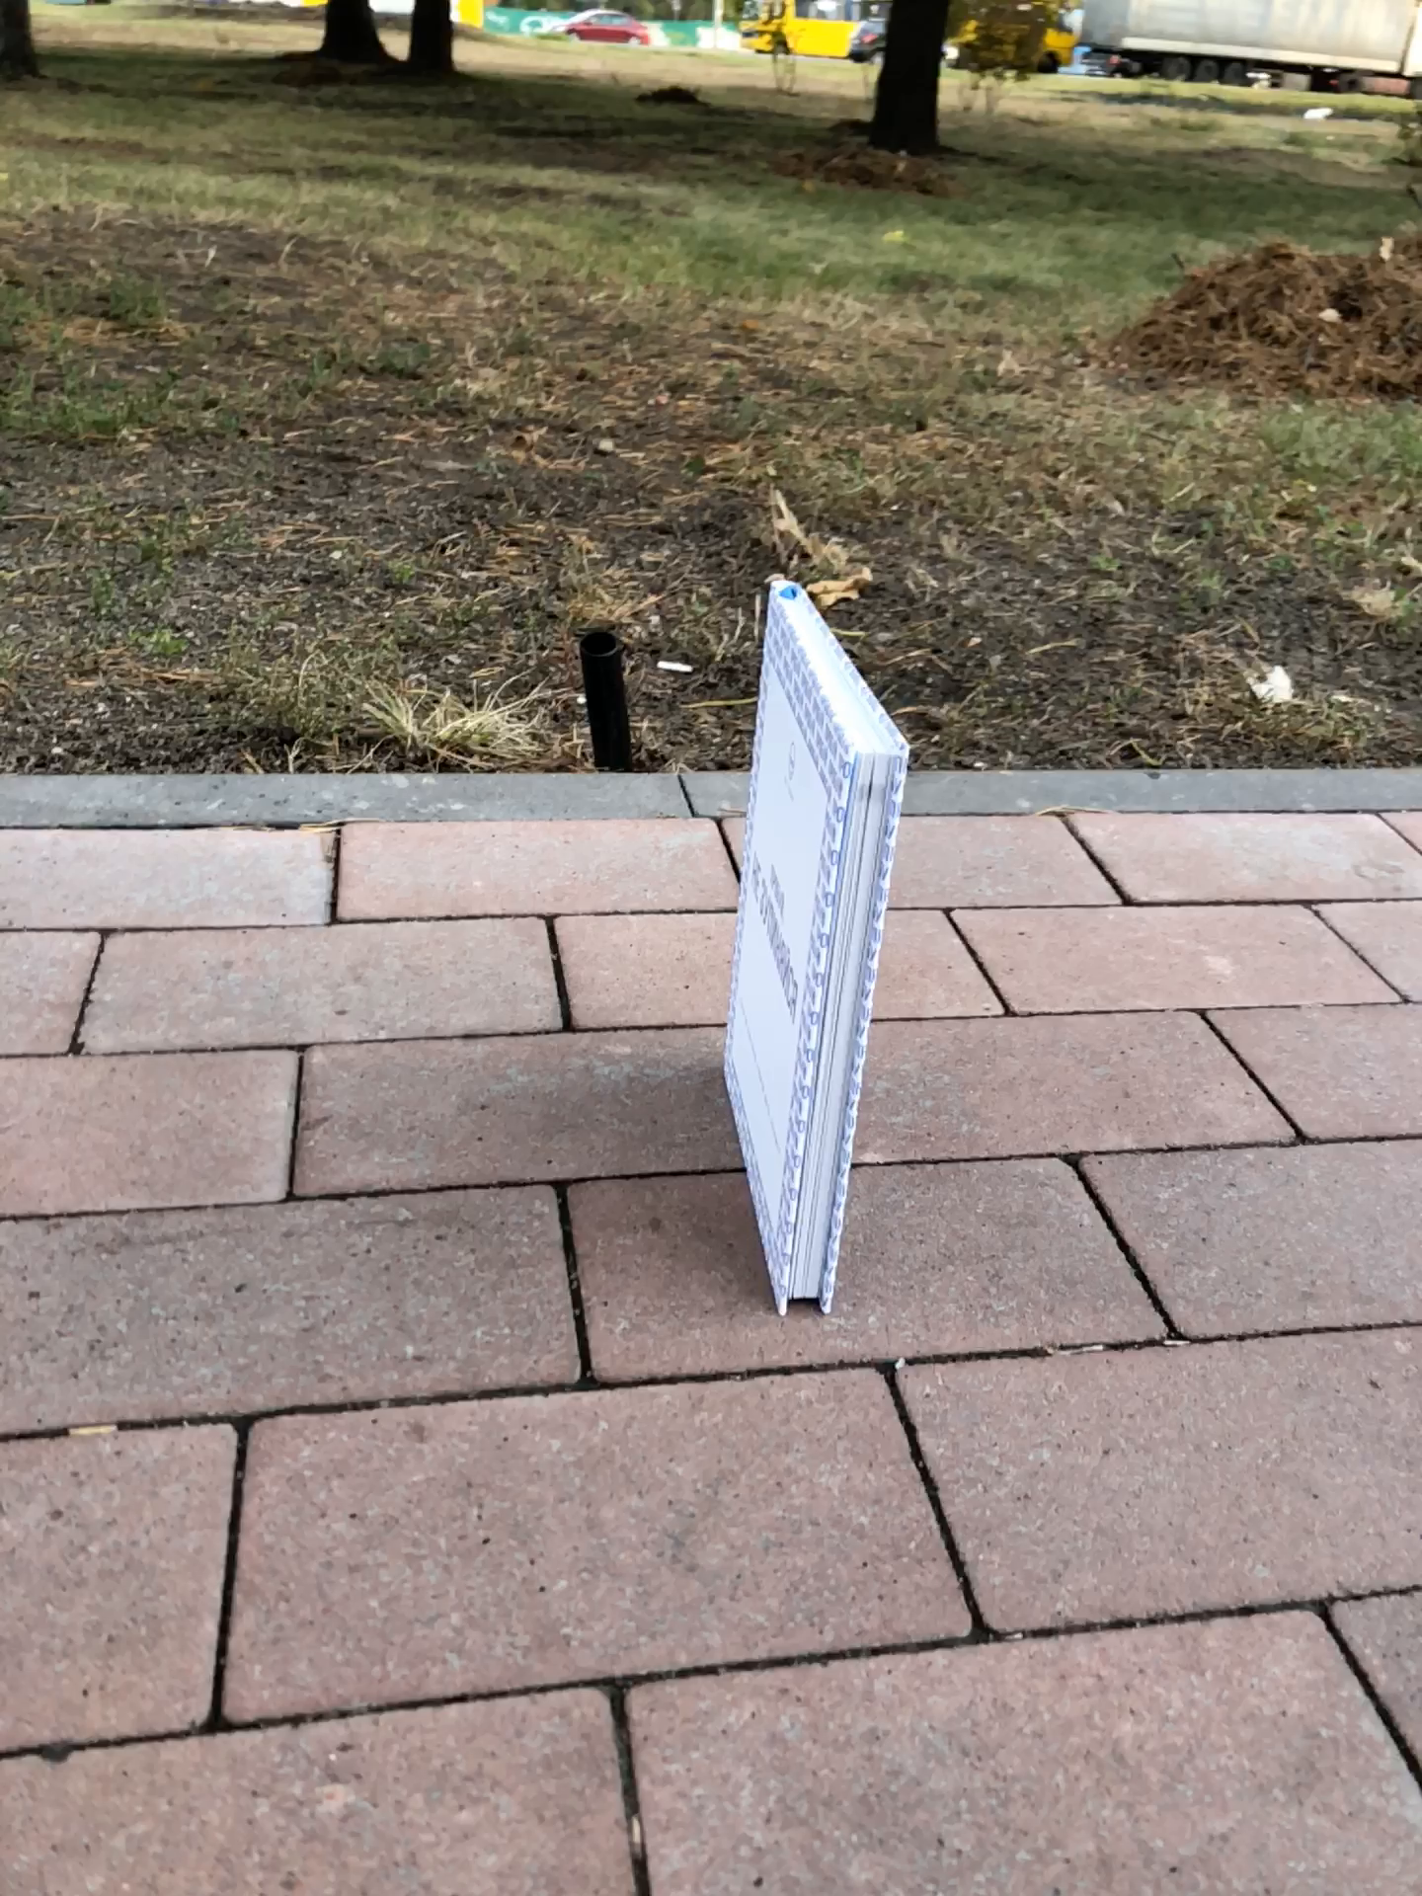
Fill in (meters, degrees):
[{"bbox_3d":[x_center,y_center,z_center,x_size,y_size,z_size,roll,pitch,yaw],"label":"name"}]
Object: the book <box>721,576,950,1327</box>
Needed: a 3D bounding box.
[{"bbox_3d":[0.033,-0.003,0.513,0.022,0.196,0.152,0,29,-9],"label":"book"}]
